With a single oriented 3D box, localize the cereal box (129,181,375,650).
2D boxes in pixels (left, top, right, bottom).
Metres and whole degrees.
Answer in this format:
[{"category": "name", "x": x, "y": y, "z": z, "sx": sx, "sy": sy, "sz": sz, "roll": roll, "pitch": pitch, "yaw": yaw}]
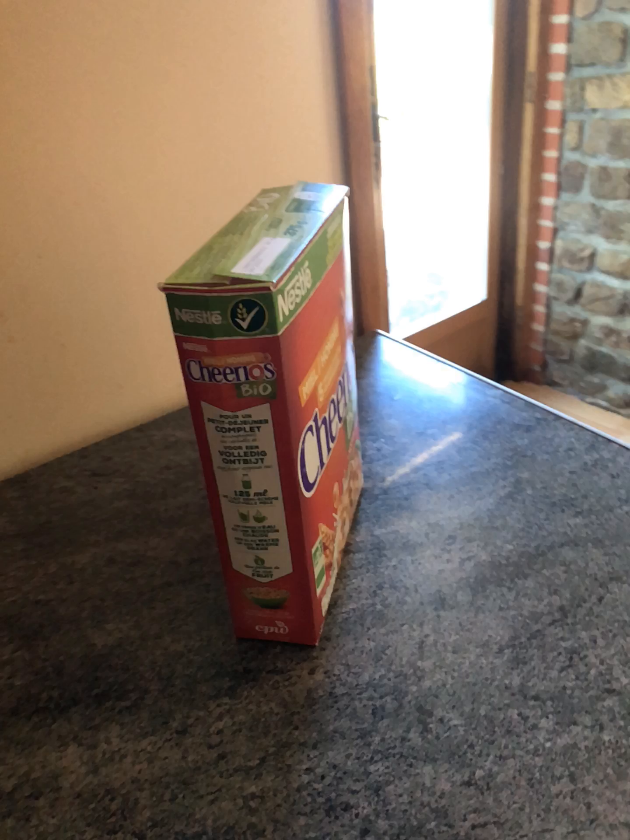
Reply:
[{"category": "cereal box", "x": -0.020, "y": -0.010, "z": 0.492, "sx": 0.080, "sy": 0.258, "sz": 0.201, "roll": 2, "pitch": 32, "yaw": 15}]
